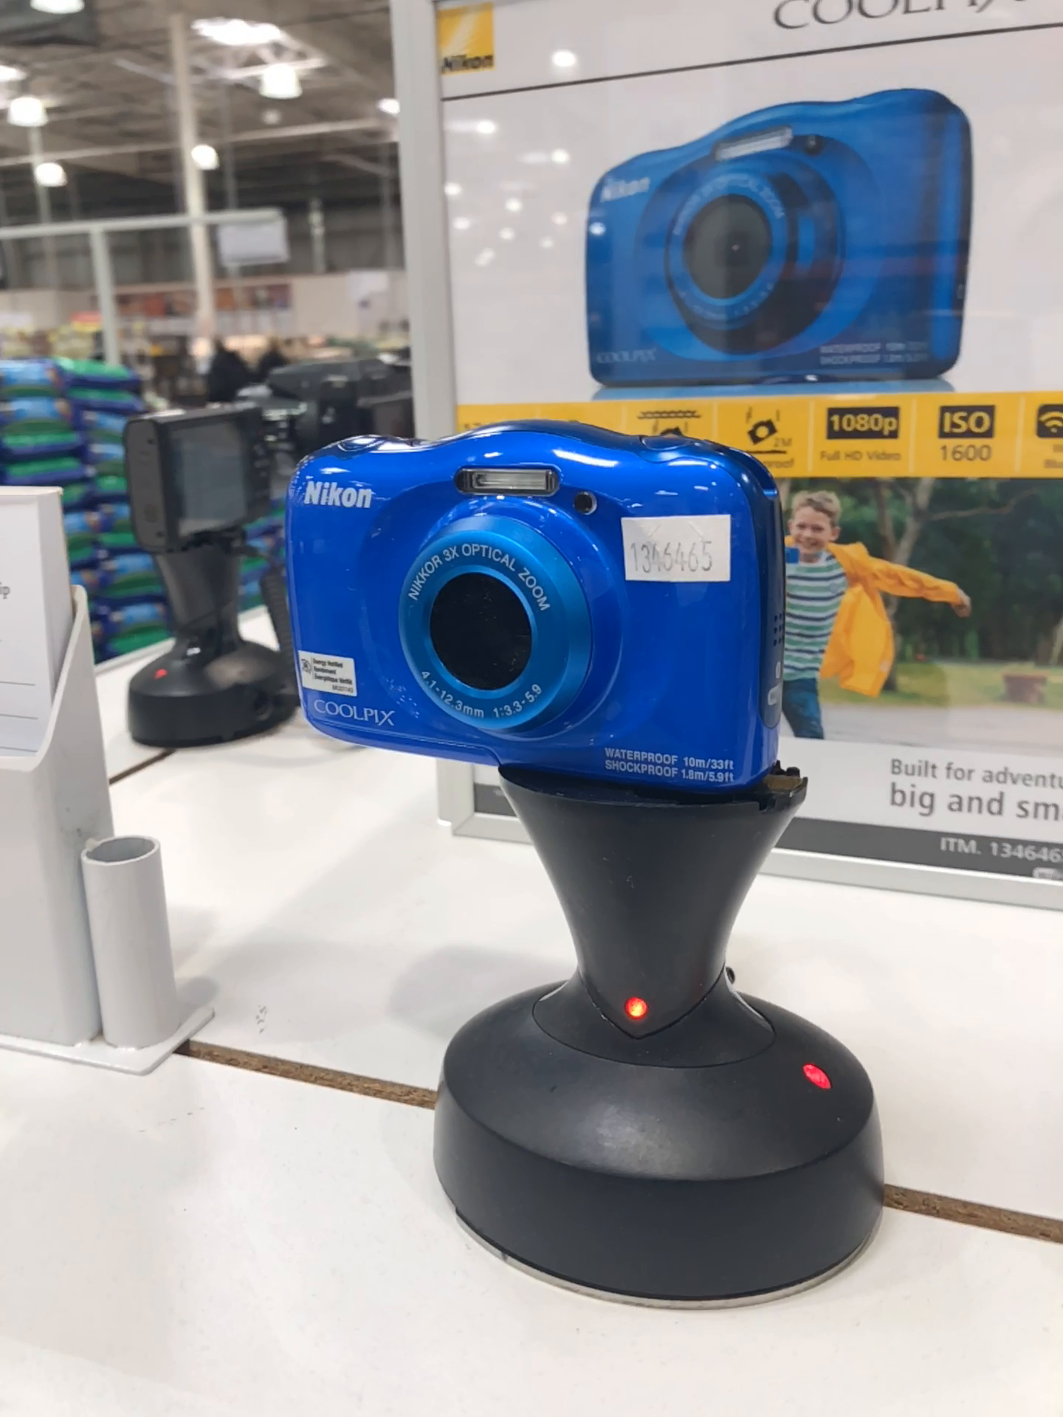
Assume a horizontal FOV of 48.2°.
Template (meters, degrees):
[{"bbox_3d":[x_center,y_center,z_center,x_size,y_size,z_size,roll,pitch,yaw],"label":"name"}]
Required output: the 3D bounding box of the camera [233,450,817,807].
[{"bbox_3d":[-0.002,-0.021,0.245,0.110,0.060,0.040,6,18,24],"label":"camera"}]
